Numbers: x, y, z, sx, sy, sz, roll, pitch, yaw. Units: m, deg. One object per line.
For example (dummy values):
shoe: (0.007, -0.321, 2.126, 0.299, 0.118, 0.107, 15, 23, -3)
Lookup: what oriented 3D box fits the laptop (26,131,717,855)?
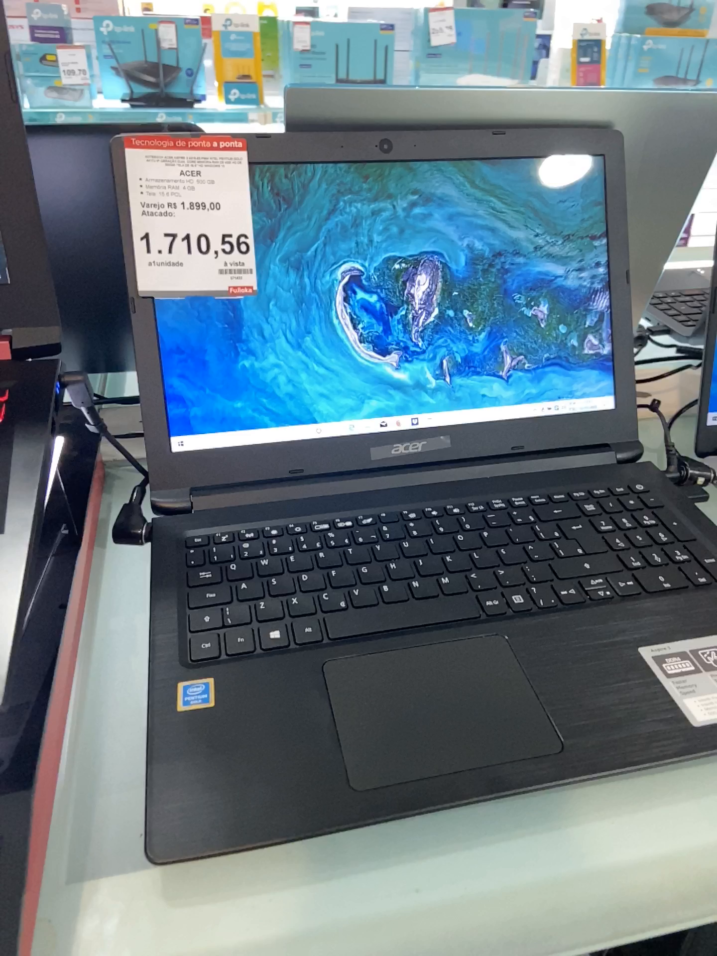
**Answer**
laptop: (0.054, -0.057, 0.439, 0.377, 0.216, 0.382, -6, 34, -12)
